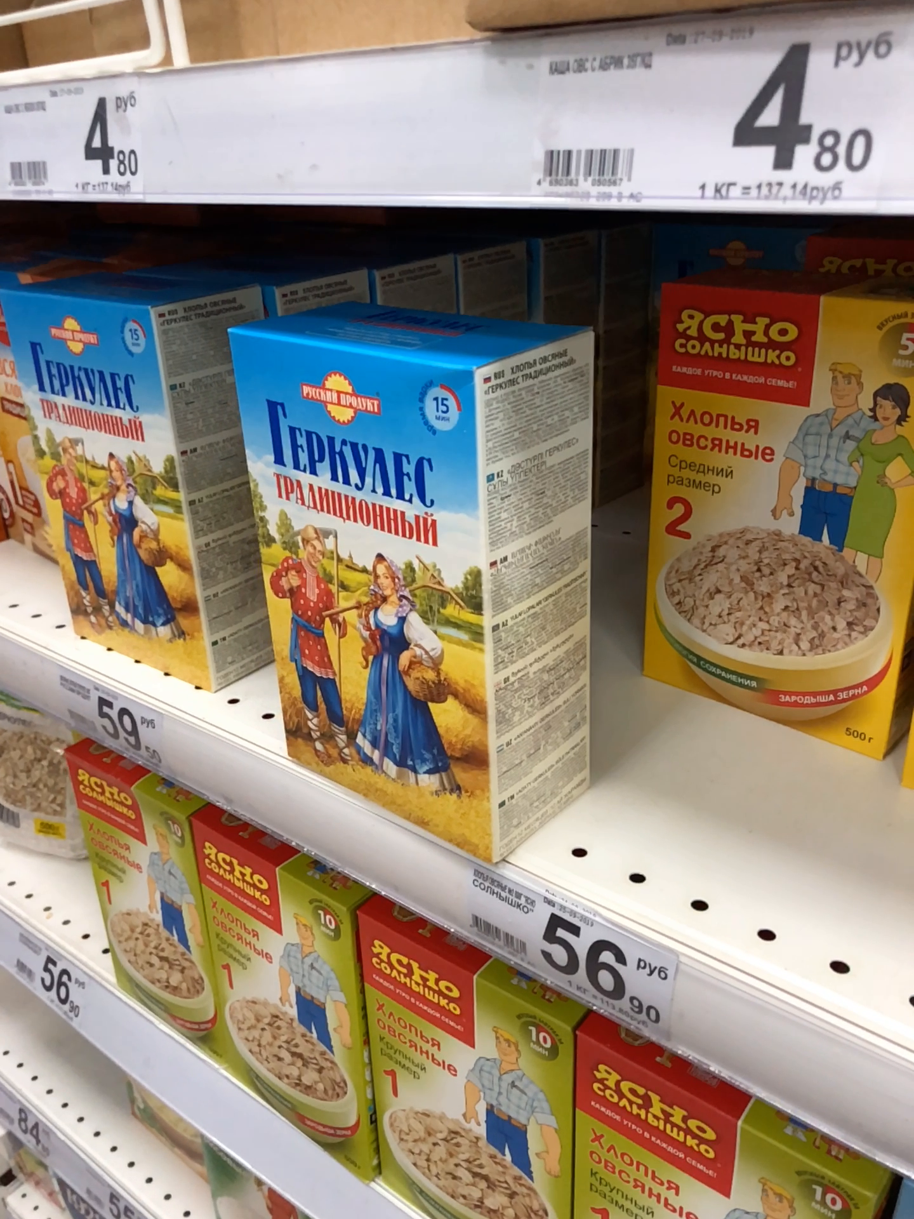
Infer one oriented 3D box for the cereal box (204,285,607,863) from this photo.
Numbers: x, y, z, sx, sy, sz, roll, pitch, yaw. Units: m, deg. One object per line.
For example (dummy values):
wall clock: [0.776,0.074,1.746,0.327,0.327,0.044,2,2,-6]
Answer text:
cereal box: [-0.017,-0.020,0.397,0.130,0.189,0.070,18,33,37]
